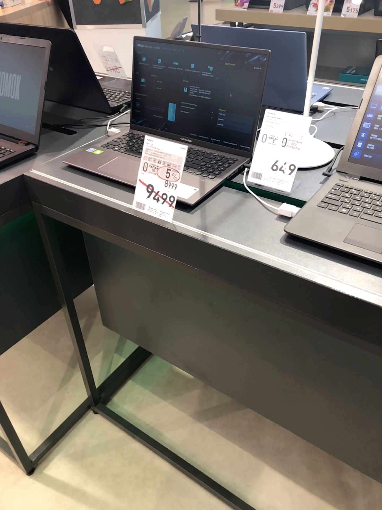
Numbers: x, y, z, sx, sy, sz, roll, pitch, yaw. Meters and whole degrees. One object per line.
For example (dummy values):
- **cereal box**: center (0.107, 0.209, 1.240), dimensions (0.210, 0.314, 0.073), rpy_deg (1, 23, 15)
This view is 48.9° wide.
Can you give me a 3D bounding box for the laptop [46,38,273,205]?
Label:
- **laptop**: center (-0.060, -0.304, 0.883), dimensions (0.356, 0.200, 0.288), rpy_deg (22, 44, 31)
